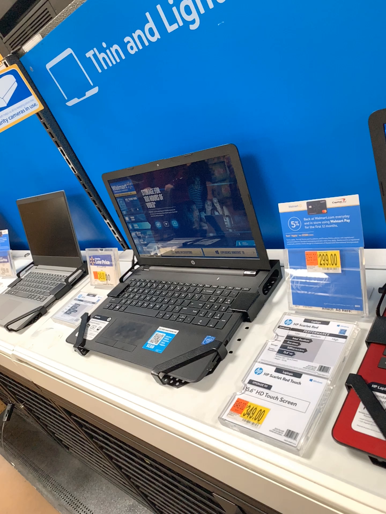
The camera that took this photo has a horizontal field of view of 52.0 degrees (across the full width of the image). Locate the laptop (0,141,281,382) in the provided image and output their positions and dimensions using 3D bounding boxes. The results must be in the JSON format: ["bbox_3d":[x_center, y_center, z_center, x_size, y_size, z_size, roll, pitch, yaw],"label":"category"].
[{"bbox_3d":[-0.097,-0.005,0.715,0.364,0.225,0.286,0,39,44],"label":"laptop"}]
